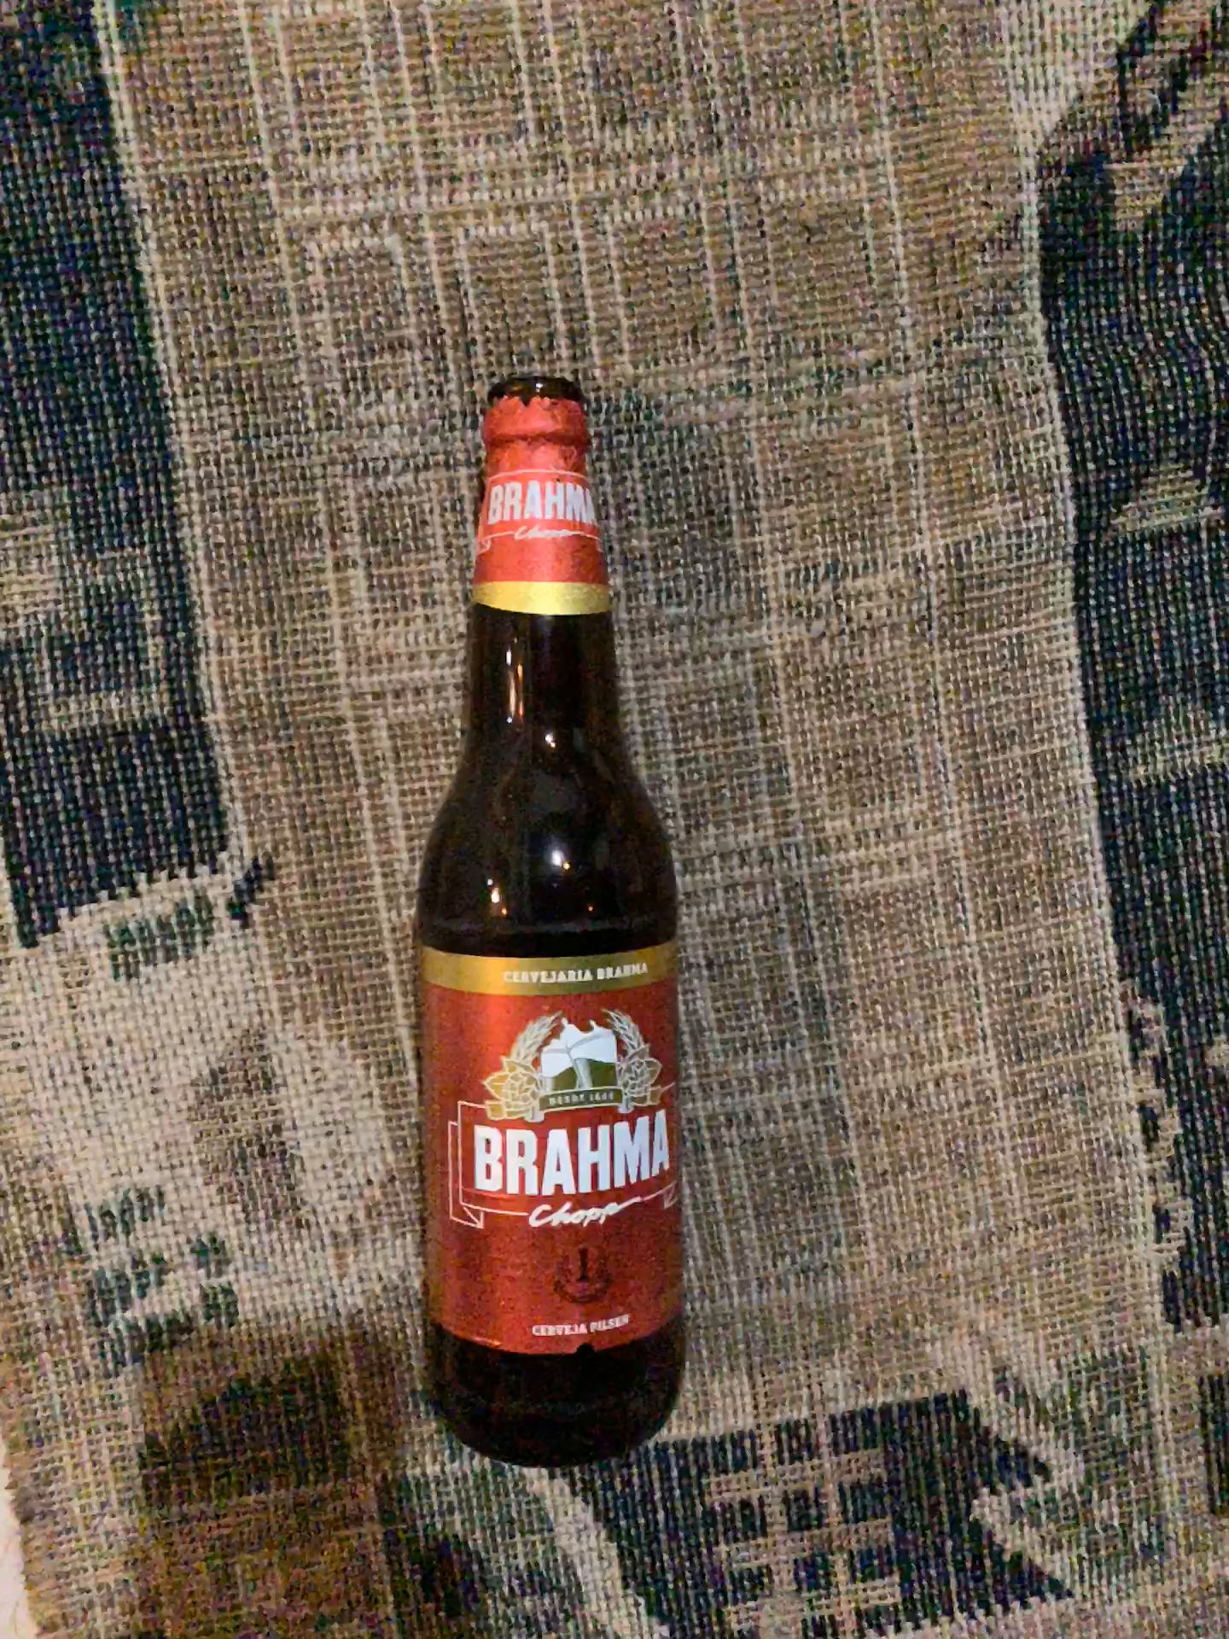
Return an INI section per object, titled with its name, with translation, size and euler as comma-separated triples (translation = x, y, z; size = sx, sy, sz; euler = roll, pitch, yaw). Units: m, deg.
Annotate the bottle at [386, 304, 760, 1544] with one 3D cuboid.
[bottle]
translation = -0.012, 0.025, 0.319
size = 0.080, 0.060, 0.280
euler = -2, 94, -8
